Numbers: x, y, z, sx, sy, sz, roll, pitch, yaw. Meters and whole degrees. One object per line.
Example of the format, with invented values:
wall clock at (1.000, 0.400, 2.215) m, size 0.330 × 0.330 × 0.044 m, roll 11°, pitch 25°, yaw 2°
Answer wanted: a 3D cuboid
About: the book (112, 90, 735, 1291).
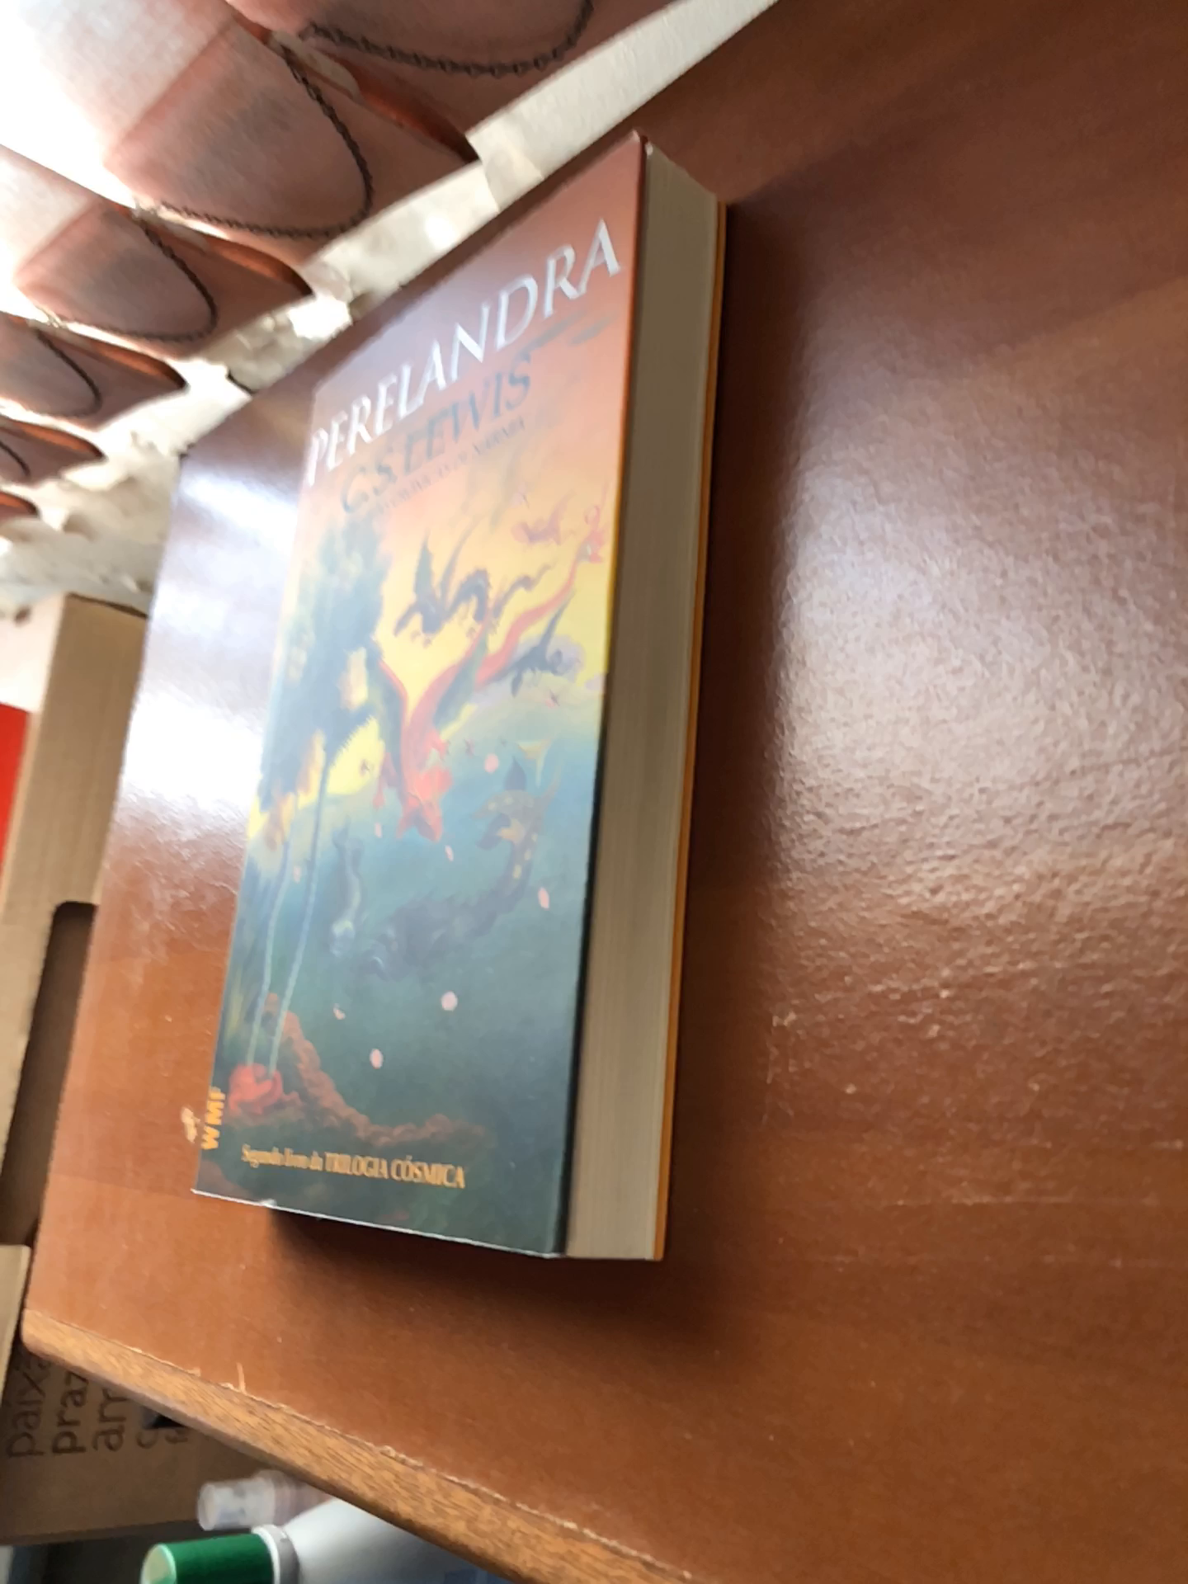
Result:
book at (-0.036, -0.014, 0.254) m, size 0.130 × 0.030 × 0.190 m, roll -14°, pitch 64°, yaw 49°
